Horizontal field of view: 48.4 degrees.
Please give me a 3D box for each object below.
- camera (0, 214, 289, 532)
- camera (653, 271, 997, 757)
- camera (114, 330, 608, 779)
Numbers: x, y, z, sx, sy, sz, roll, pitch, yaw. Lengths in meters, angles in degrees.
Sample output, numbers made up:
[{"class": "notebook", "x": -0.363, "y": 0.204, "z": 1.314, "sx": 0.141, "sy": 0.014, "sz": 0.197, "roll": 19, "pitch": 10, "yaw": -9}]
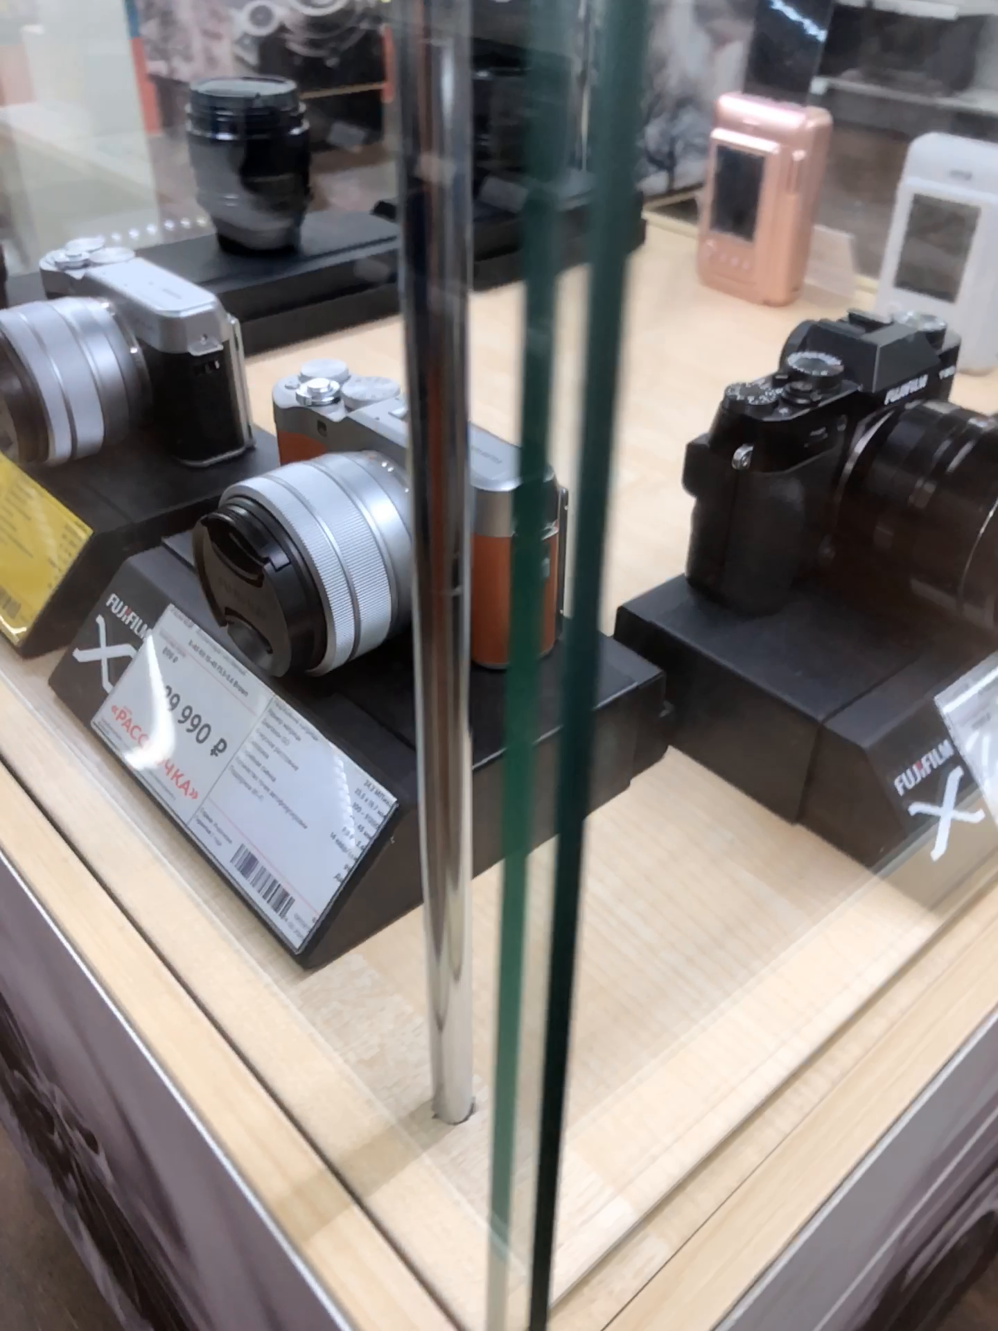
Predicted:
[{"class": "camera", "x": -0.162, "y": -0.125, "z": 0.453, "sx": 0.093, "sy": 0.075, "sz": 0.121, "roll": -28, "pitch": 45, "yaw": -34}, {"class": "camera", "x": 0.141, "y": -0.060, "z": 0.371, "sx": 0.131, "sy": 0.090, "sz": 0.113, "roll": -27, "pitch": 45, "yaw": -33}, {"class": "camera", "x": -0.044, "y": -0.043, "z": 0.353, "sx": 0.093, "sy": 0.075, "sz": 0.121, "roll": -28, "pitch": 45, "yaw": -34}]
